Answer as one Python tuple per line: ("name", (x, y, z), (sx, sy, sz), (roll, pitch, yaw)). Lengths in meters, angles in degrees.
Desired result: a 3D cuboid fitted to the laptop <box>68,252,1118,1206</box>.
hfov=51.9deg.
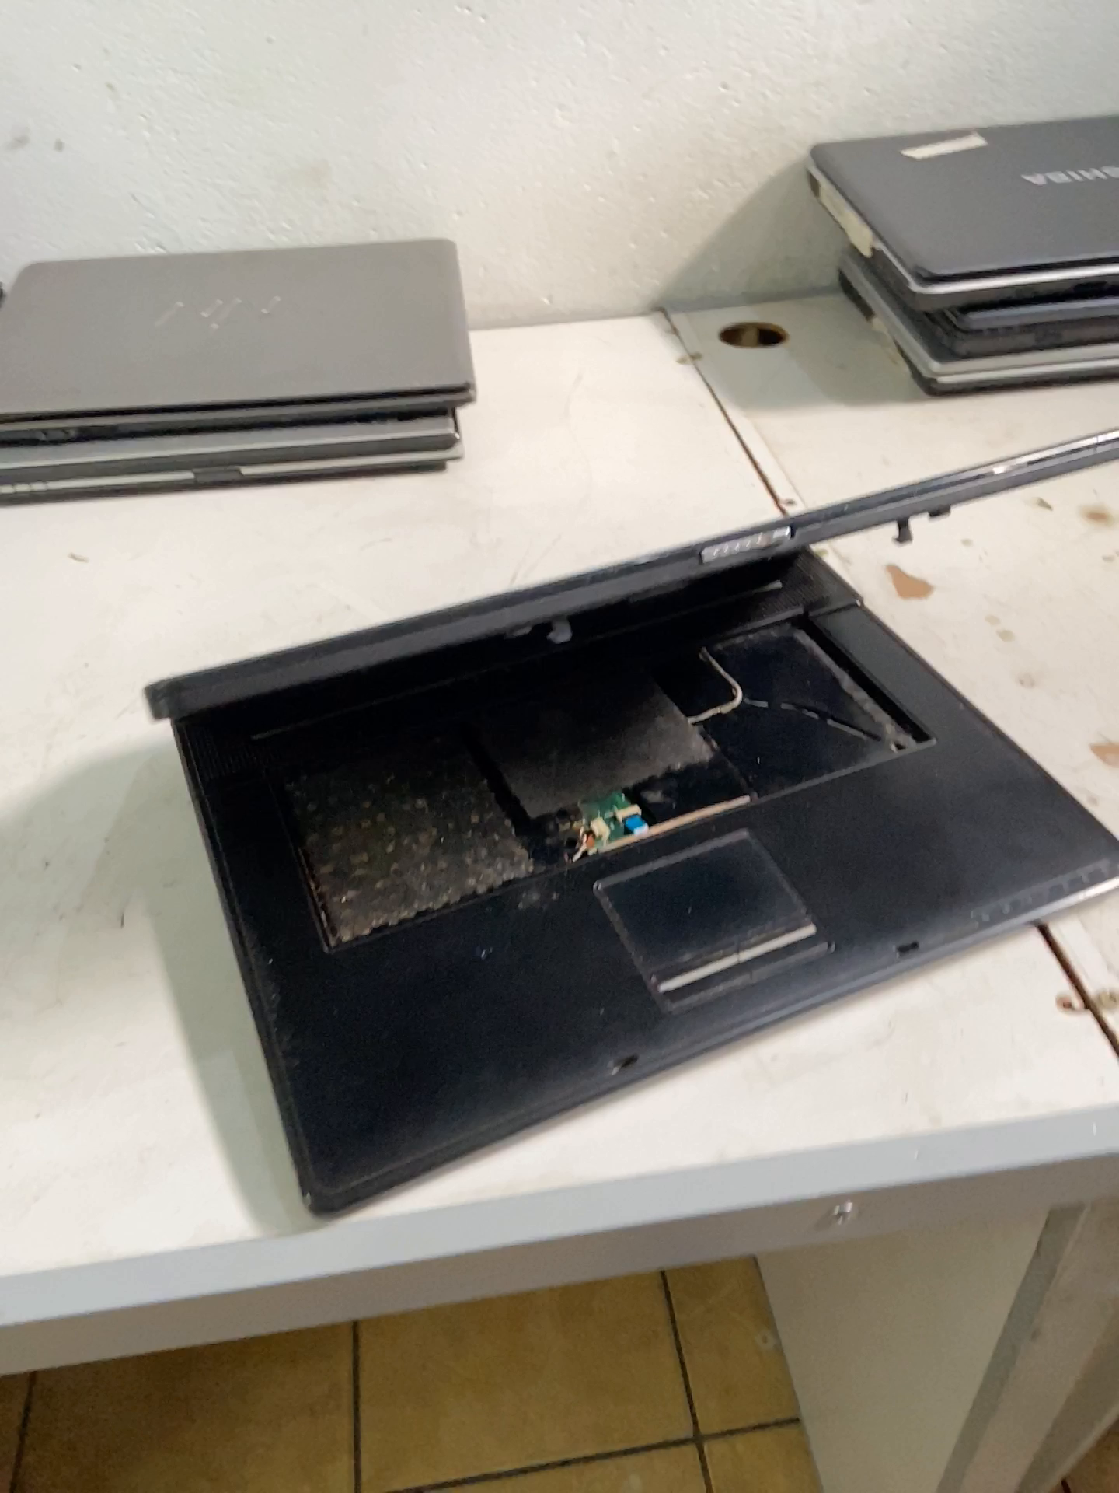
("laptop", (0.024, -0.042, 0.461), (0.348, 0.164, 0.261), (-17, 44, -16))
